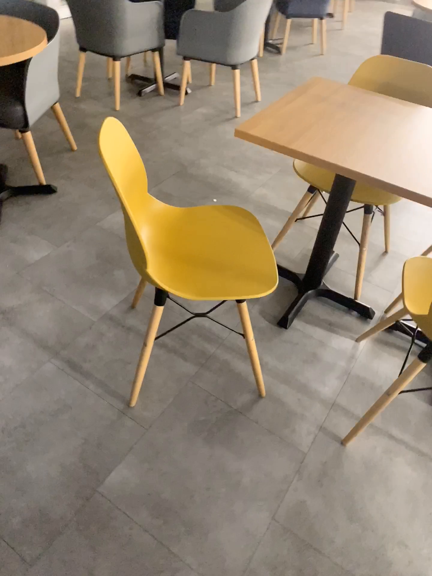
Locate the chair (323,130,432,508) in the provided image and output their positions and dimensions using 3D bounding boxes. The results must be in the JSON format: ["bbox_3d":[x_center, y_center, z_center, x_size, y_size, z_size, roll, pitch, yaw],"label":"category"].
[{"bbox_3d":[0.674,0.098,1.205,0.517,0.781,0.533,15,44,9],"label":"chair"}]

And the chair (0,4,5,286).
[{"bbox_3d":[-1.282,-0.527,1.653,0.517,0.781,0.543,12,43,7],"label":"chair"}]

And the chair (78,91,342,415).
[{"bbox_3d":[-0.061,-0.080,1.310,0.519,0.781,0.521,-1,43,-8],"label":"chair"}]
